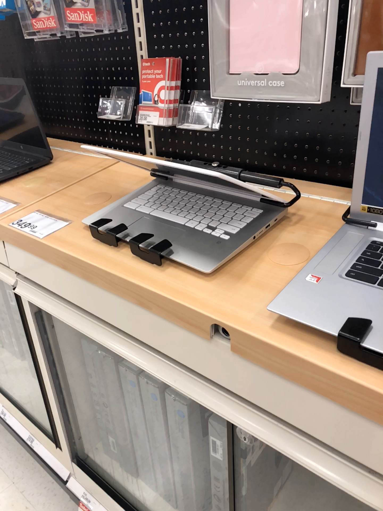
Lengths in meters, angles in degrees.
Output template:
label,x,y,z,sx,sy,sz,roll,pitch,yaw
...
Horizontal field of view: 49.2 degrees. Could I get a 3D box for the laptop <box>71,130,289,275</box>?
label,x,y,z,sx,sy,sz,roll,pitch,yaw
laptop,-0.029,-0.120,0.748,0.331,0.100,0.215,21,44,39

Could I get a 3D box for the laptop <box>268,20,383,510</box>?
label,x,y,z,sx,sy,sz,roll,pitch,yaw
laptop,0.316,-0.061,0.422,0.389,0.244,0.273,18,38,36
